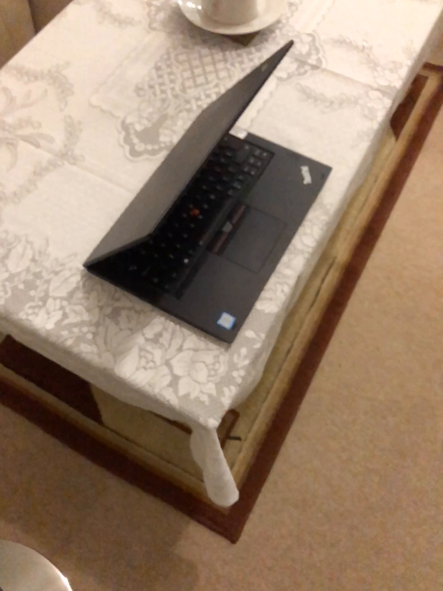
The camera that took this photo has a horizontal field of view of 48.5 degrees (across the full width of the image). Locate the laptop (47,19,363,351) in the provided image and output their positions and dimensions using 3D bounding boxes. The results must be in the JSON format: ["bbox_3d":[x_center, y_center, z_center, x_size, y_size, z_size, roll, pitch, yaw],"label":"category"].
[{"bbox_3d":[-0.008,-0.139,0.623,0.220,0.174,0.309,28,68,12],"label":"laptop"}]
